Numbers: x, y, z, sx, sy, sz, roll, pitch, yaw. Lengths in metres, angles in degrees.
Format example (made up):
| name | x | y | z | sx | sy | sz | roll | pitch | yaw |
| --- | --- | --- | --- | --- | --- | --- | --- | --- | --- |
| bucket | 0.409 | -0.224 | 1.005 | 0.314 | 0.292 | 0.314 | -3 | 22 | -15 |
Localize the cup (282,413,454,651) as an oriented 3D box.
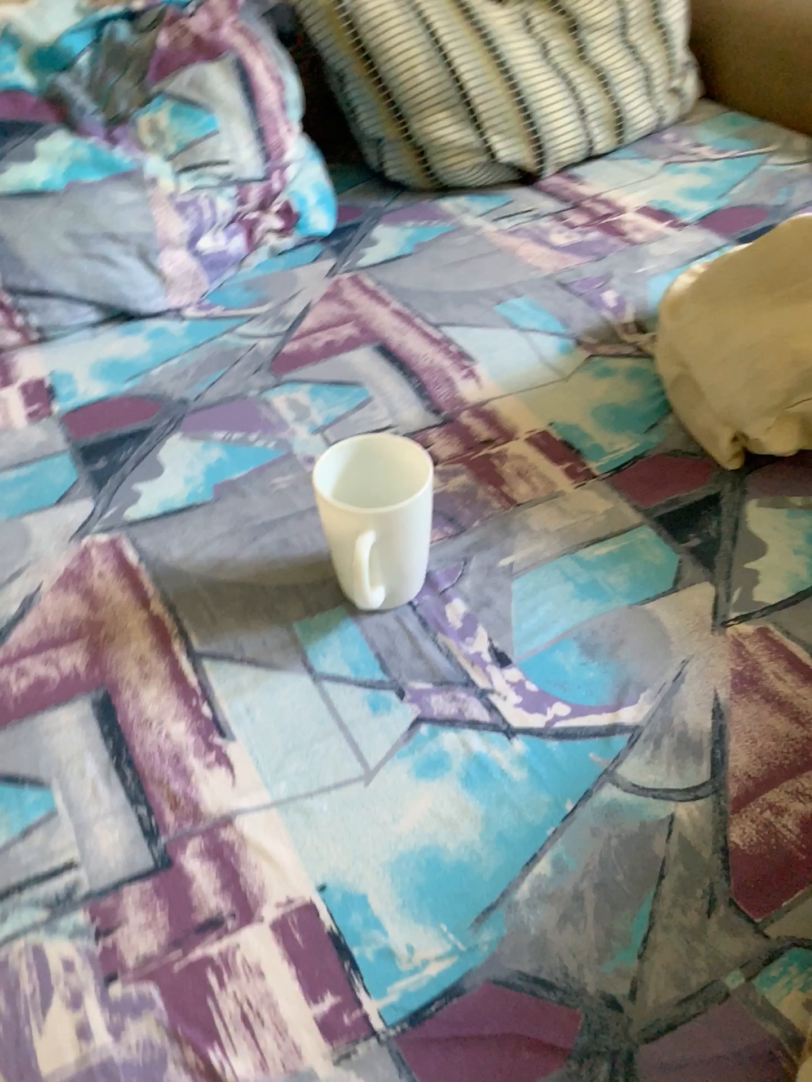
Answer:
| name | x | y | z | sx | sy | sz | roll | pitch | yaw |
| --- | --- | --- | --- | --- | --- | --- | --- | --- | --- |
| cup | -0.018 | -0.008 | 0.554 | 0.080 | 0.099 | 0.121 | 3 | 45 | 11 |
